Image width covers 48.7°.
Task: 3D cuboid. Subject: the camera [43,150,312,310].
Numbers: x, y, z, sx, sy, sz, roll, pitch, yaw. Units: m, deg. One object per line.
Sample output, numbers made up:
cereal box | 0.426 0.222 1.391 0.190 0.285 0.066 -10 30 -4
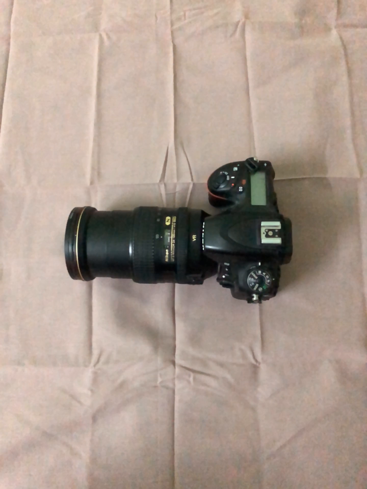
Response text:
camera | -0.003 -0.007 0.416 0.231 0.110 0.139 1 78 2
